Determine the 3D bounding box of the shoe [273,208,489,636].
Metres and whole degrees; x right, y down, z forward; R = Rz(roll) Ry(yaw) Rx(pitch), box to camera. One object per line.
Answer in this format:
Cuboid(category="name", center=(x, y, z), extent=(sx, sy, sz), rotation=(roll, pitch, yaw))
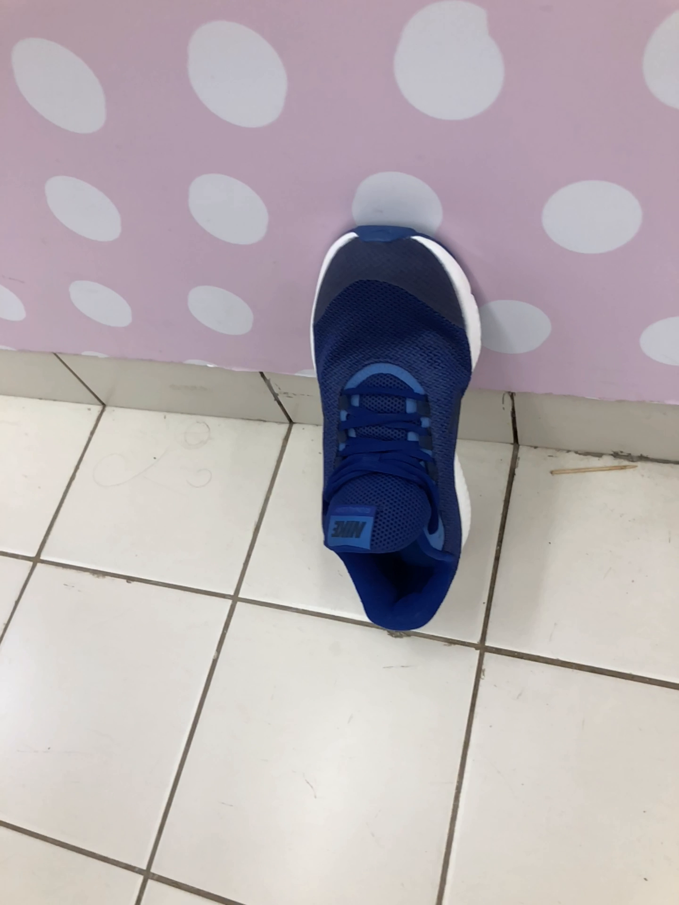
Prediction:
Cuboid(category="shoe", center=(0.036, -0.024, 0.474), extent=(0.100, 0.239, 0.110), rotation=(3, 20, 18))
